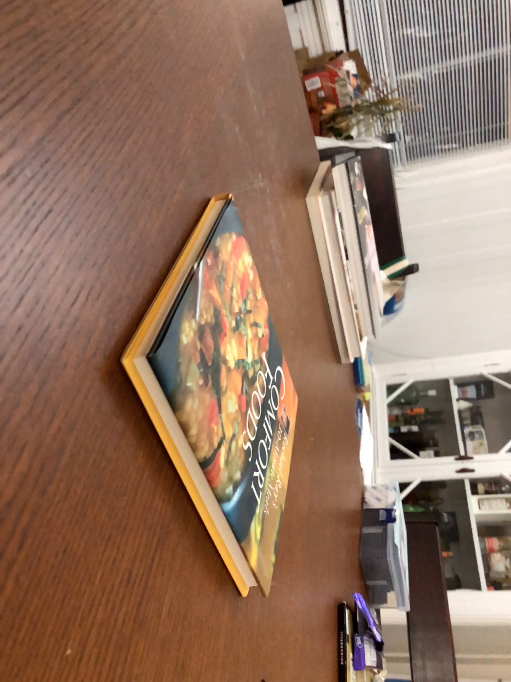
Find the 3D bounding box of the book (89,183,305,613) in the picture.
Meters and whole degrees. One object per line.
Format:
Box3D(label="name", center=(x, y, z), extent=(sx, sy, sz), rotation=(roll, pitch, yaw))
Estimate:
Box3D(label="book", center=(-0.015, 0.031, 0.384), extent=(0.201, 0.030, 0.210), rotation=(-74, 151, -53))
